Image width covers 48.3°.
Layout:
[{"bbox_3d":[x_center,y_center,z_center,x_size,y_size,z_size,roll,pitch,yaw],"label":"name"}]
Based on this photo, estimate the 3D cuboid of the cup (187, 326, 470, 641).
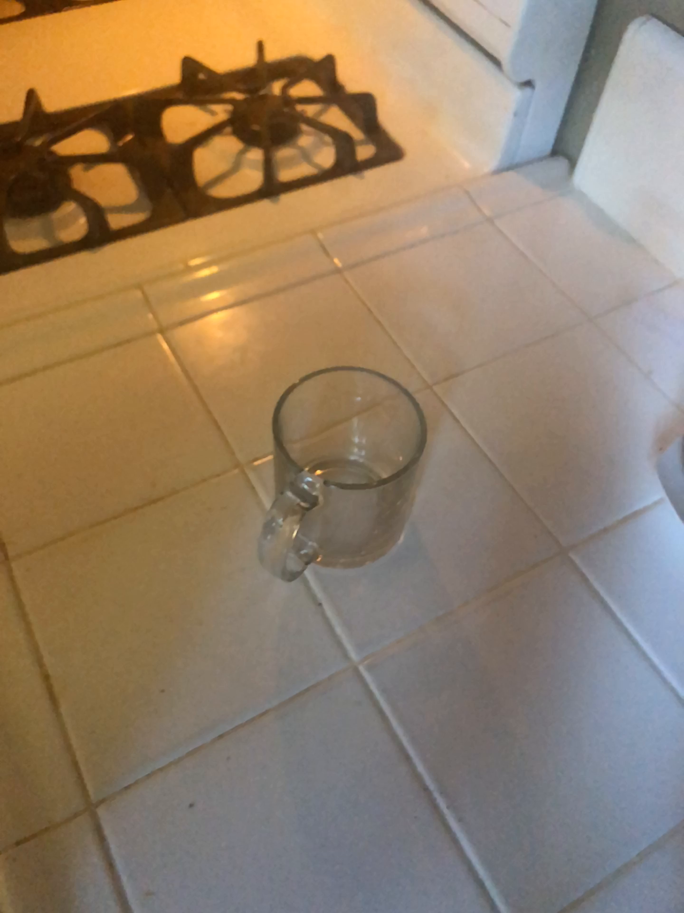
[{"bbox_3d":[-0.005,0.013,0.439,0.100,0.079,0.131,26,57,14],"label":"cup"}]
